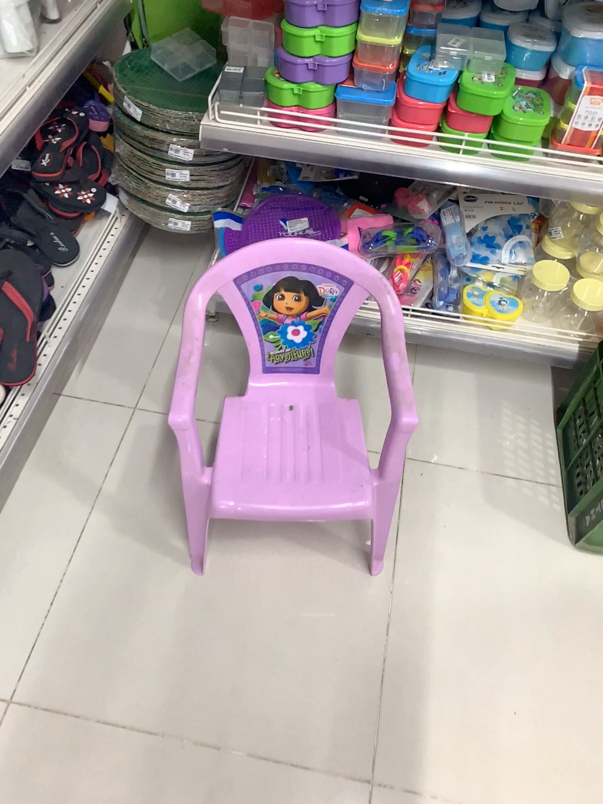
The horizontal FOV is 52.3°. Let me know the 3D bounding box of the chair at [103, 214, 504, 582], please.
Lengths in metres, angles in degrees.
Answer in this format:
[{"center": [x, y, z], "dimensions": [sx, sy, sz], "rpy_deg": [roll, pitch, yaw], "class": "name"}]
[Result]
[{"center": [-0.005, 0.018, 0.885], "dimensions": [0.400, 0.429, 0.341], "rpy_deg": [0, 54, -2], "class": "chair"}]
